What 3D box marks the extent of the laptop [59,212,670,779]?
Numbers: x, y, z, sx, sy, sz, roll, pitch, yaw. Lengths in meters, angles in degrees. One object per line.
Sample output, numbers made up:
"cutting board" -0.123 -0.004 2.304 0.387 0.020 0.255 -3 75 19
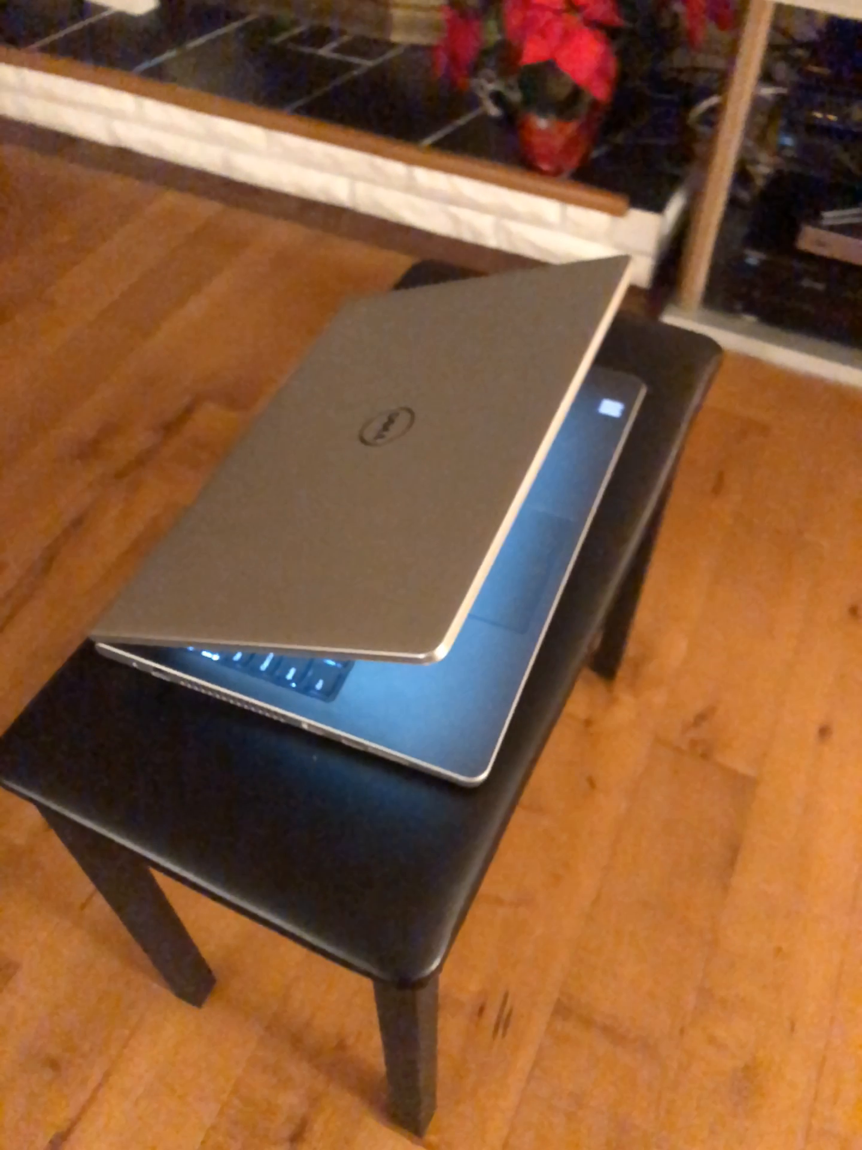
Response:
"laptop" -0.016 -0.082 0.634 0.248 0.107 0.367 17 52 15
